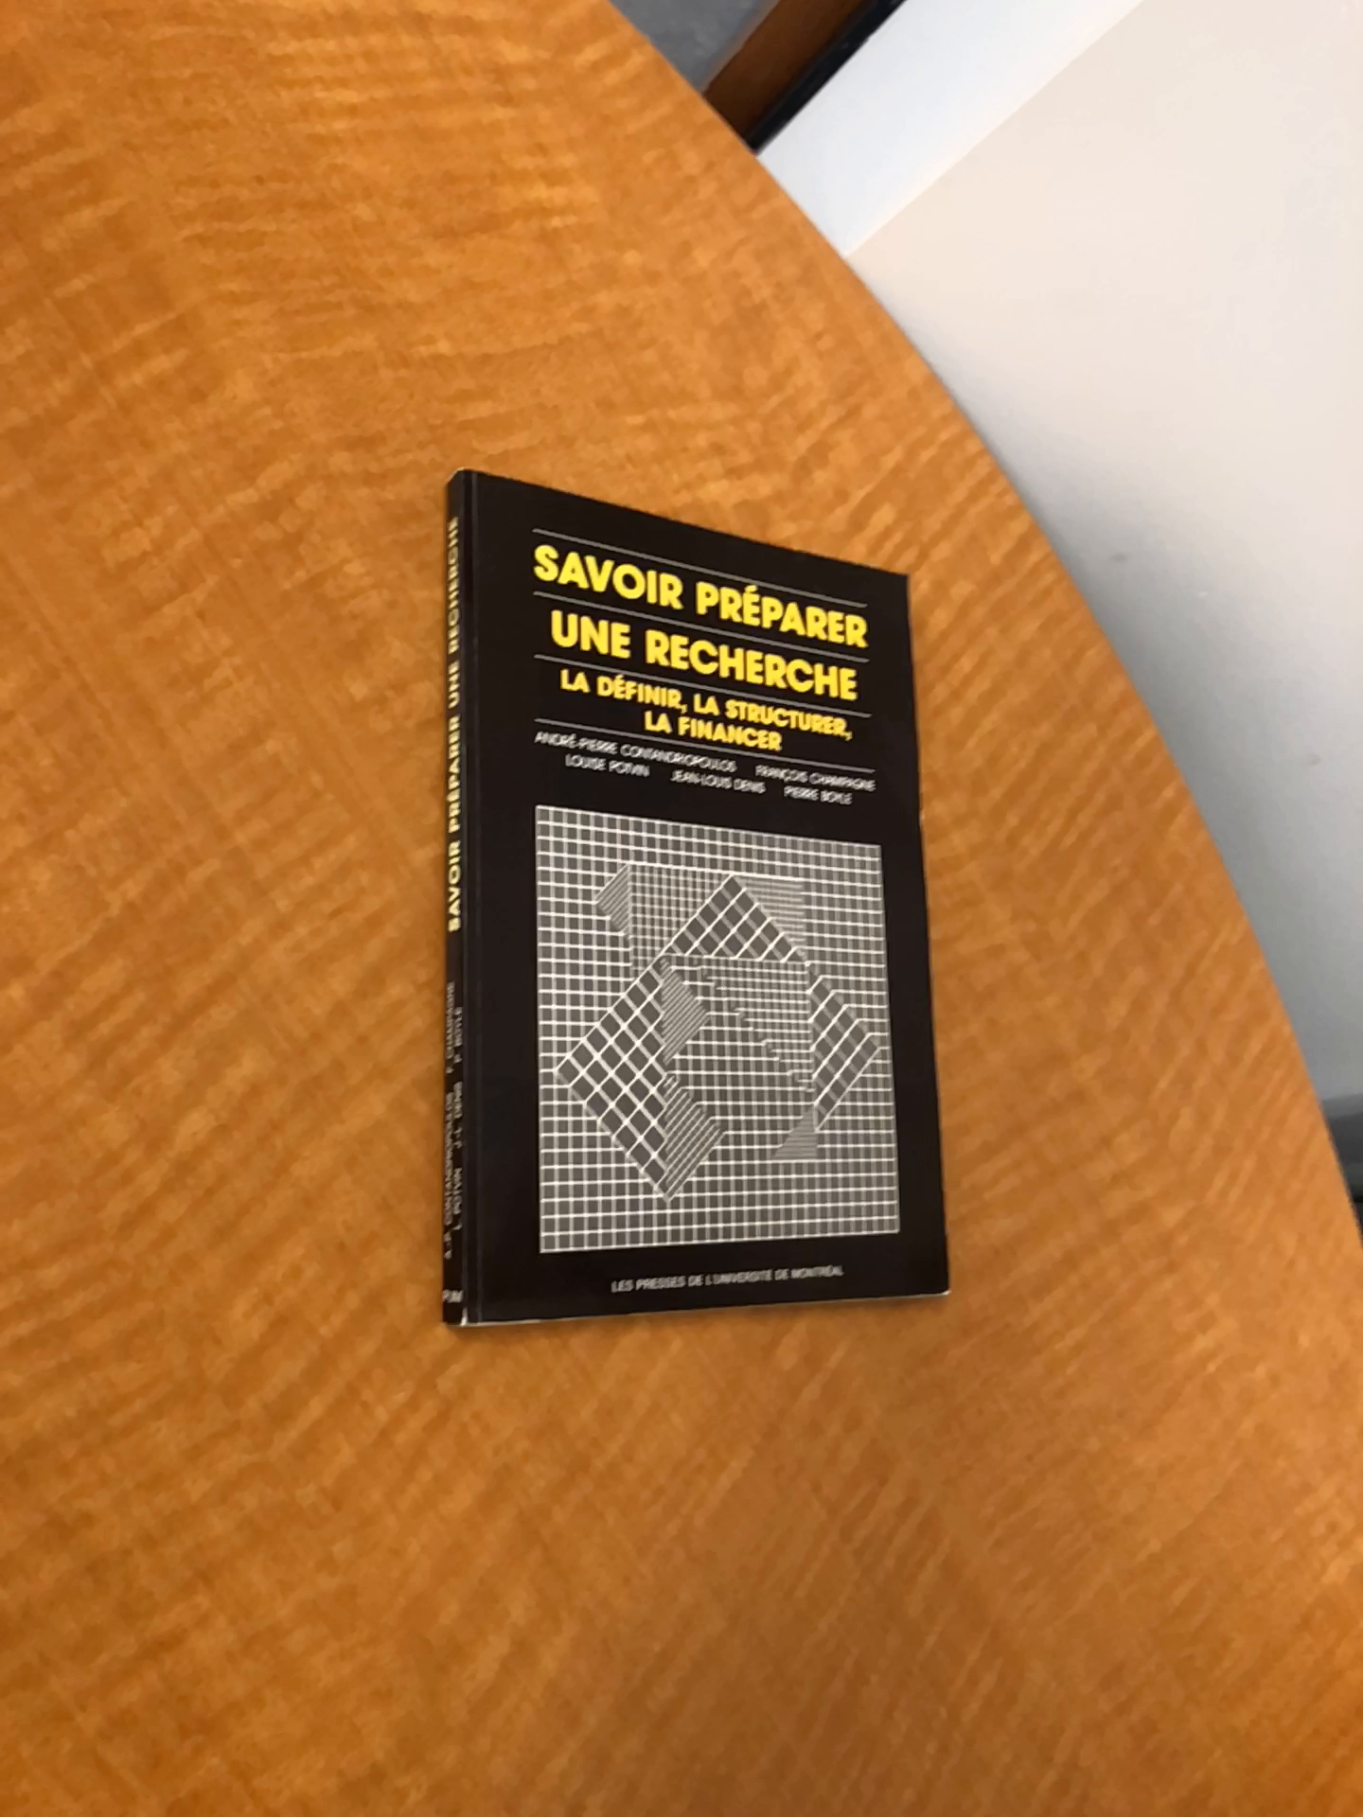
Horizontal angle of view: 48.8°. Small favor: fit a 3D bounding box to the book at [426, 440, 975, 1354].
[{"bbox_3d":[0.007,-0.002,0.442,0.161,0.030,0.240,4,77,-32],"label":"book"}]
